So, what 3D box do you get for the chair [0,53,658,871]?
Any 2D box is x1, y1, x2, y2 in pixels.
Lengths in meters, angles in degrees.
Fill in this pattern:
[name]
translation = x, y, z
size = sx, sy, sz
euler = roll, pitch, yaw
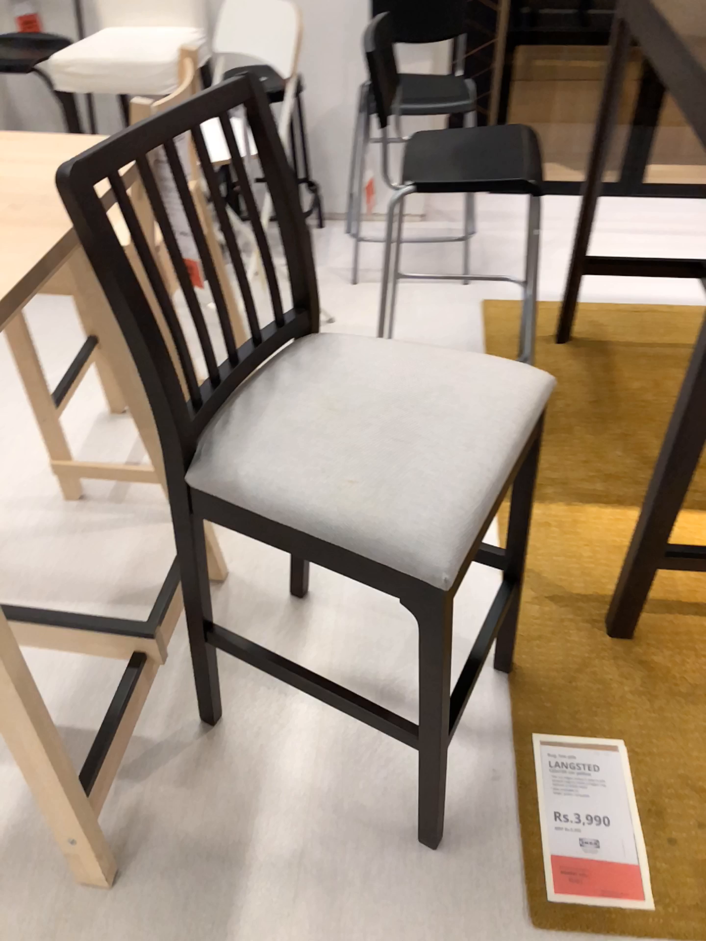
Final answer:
[chair]
translation = 0.005, 0.048, 1.199
size = 0.561, 1.093, 0.482
euler = 18, 46, 20
